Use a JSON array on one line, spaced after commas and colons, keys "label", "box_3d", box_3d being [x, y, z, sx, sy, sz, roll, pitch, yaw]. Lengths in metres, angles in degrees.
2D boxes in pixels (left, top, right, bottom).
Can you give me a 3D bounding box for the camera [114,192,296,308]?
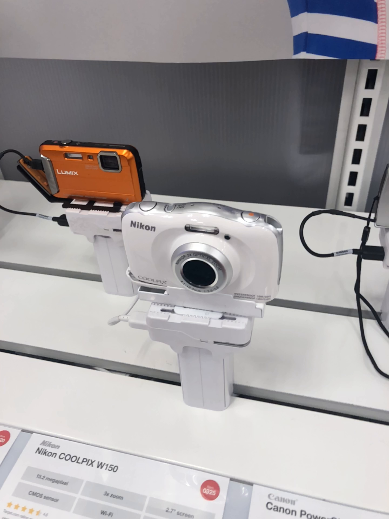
[{"label": "camera", "box_3d": [0.008, -0.007, 0.277, 0.105, 0.056, 0.032, 7, 40, 13]}]
